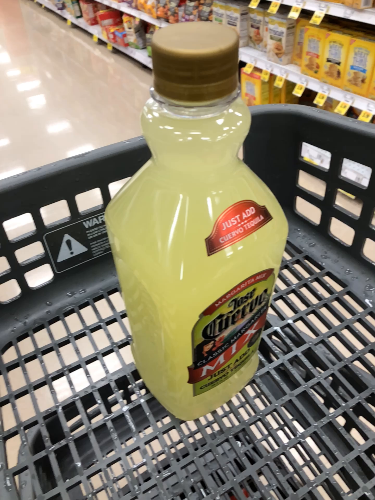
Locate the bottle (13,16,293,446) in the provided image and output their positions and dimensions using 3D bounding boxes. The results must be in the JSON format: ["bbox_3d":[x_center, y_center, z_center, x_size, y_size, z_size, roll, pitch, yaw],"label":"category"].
[{"bbox_3d":[-0.009,0.009,0.292,0.110,0.279,0.080,-28,46,-25],"label":"bottle"}]
